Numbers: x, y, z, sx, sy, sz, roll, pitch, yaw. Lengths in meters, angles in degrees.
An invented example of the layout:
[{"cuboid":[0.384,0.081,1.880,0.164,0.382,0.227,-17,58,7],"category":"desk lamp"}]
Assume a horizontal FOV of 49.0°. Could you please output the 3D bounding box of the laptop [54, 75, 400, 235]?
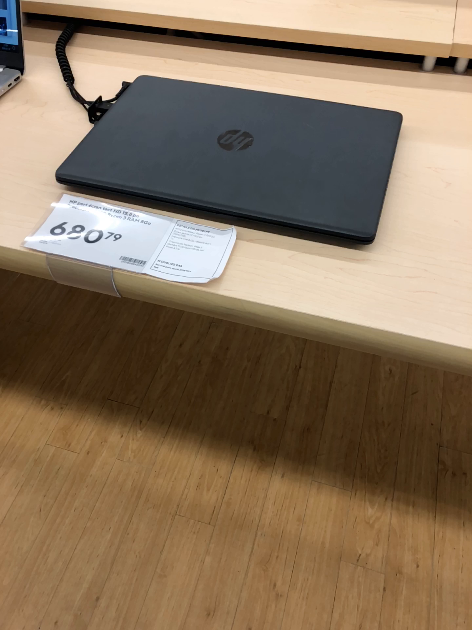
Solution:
[{"cuboid":[0.000,-0.219,0.652,0.374,0.005,0.245,13,52,12],"category":"laptop"}]
